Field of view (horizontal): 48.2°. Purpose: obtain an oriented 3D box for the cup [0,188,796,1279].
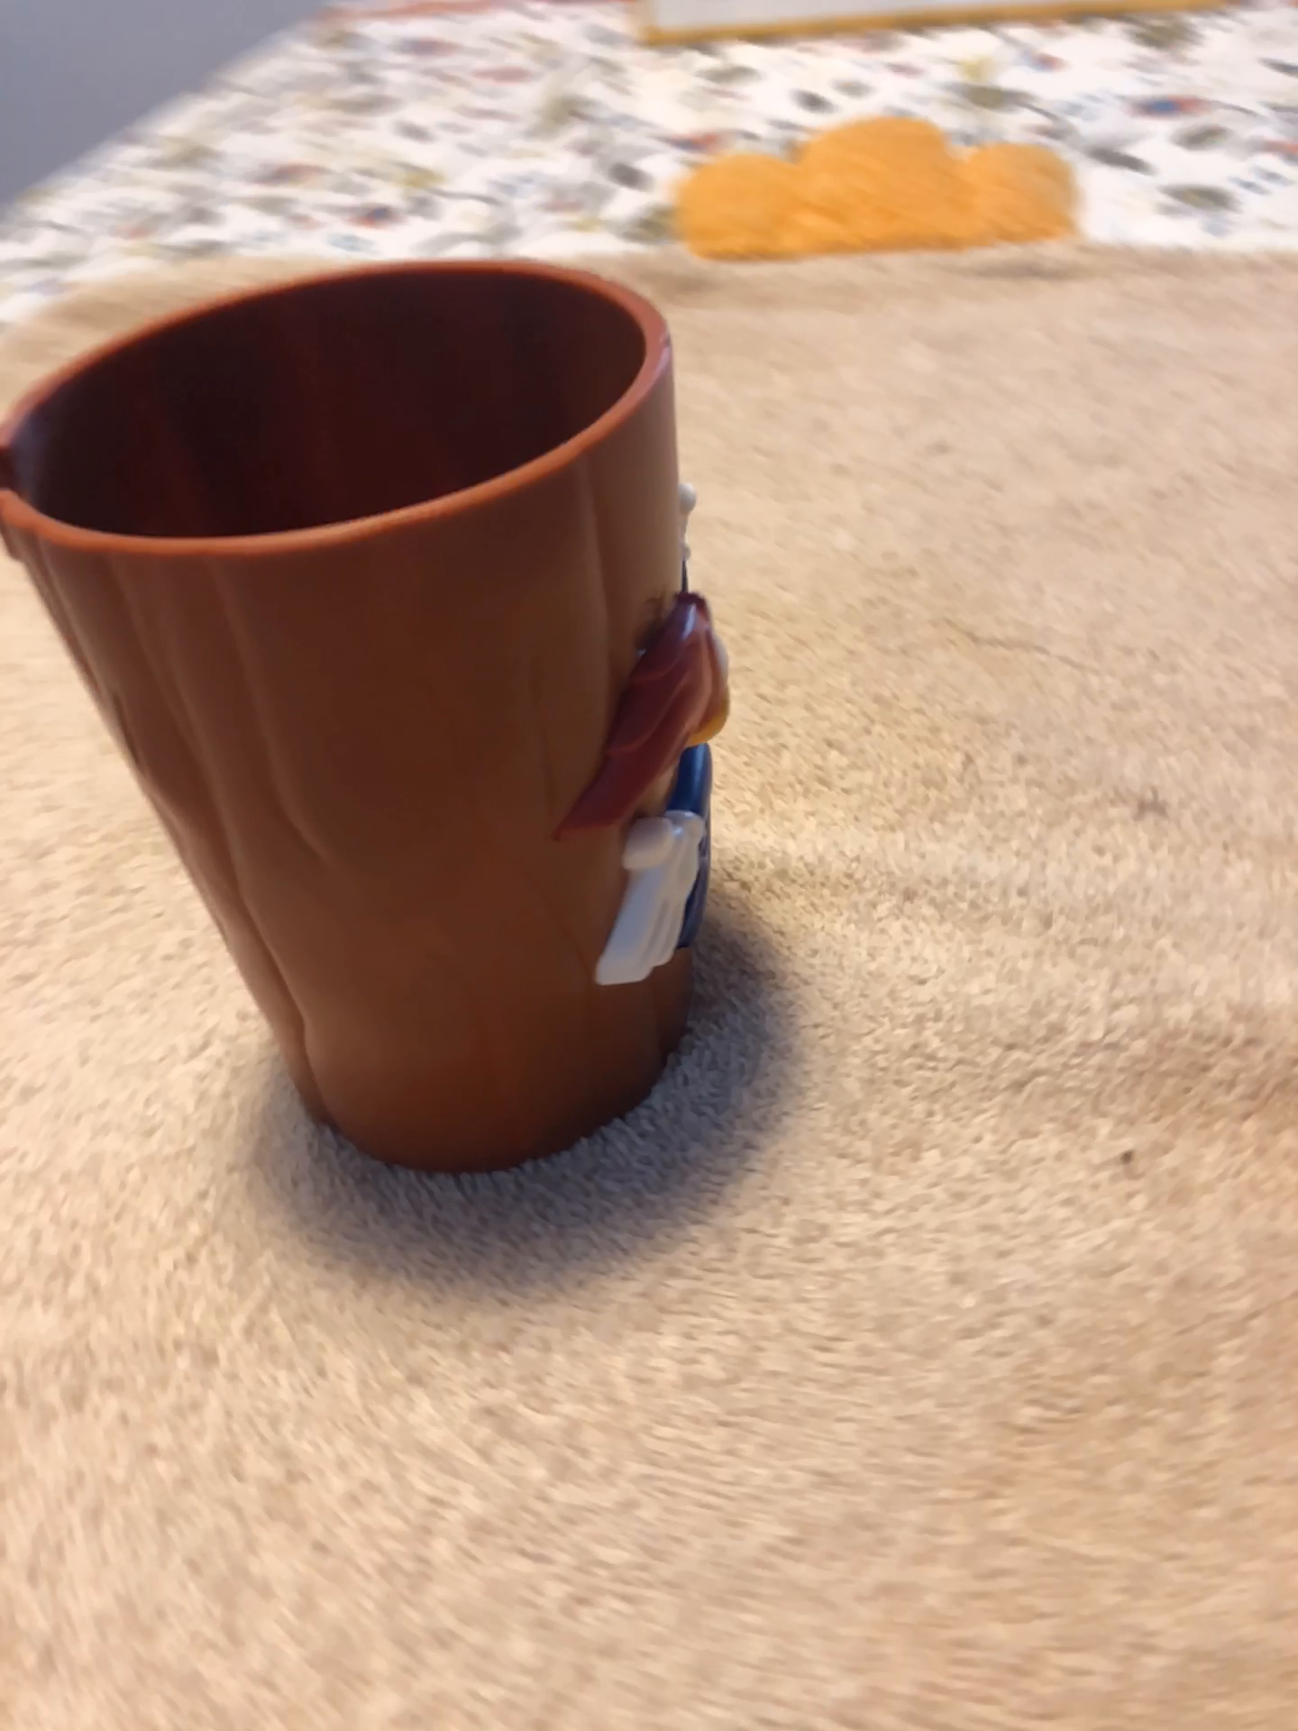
[{"bbox_3d":[-0.037,-0.017,0.204,0.090,0.109,0.081,-13,41,-4],"label":"cup"}]
